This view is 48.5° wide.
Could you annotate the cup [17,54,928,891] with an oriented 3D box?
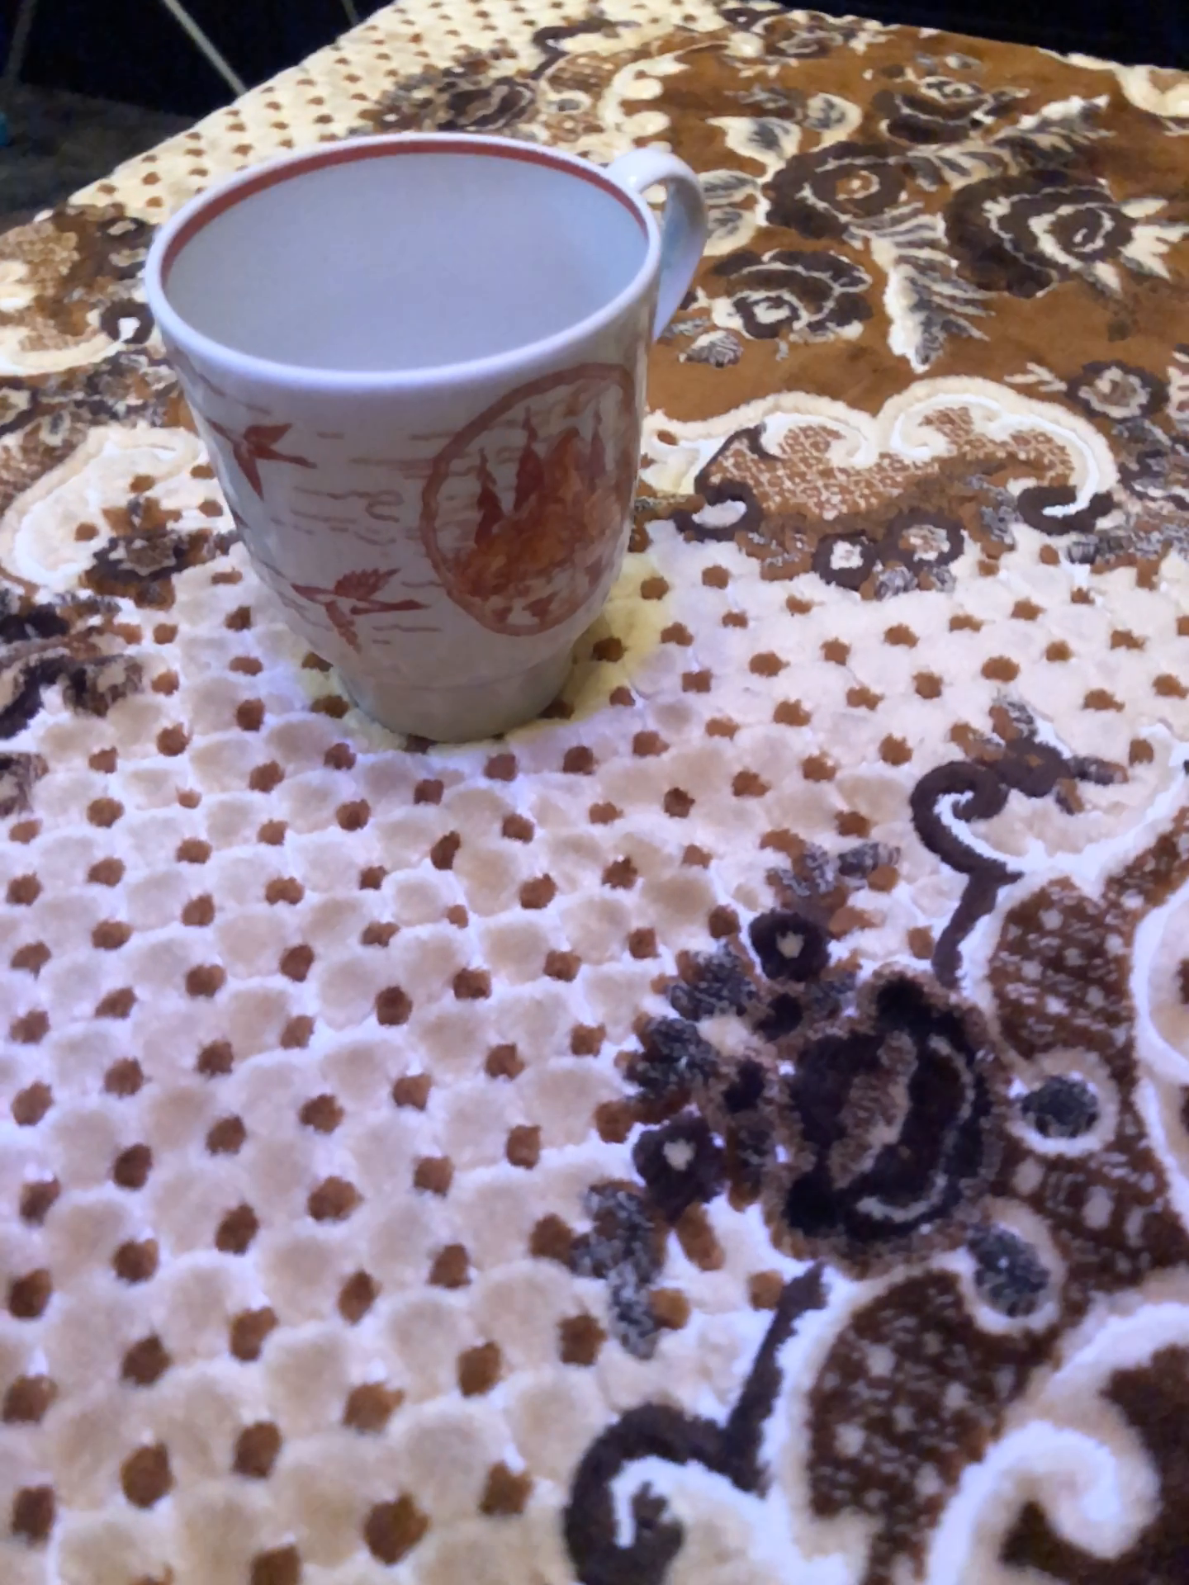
[{"bbox_3d":[-0.018,-0.072,0.269,0.100,0.090,0.130,35,58,29],"label":"cup"}]
